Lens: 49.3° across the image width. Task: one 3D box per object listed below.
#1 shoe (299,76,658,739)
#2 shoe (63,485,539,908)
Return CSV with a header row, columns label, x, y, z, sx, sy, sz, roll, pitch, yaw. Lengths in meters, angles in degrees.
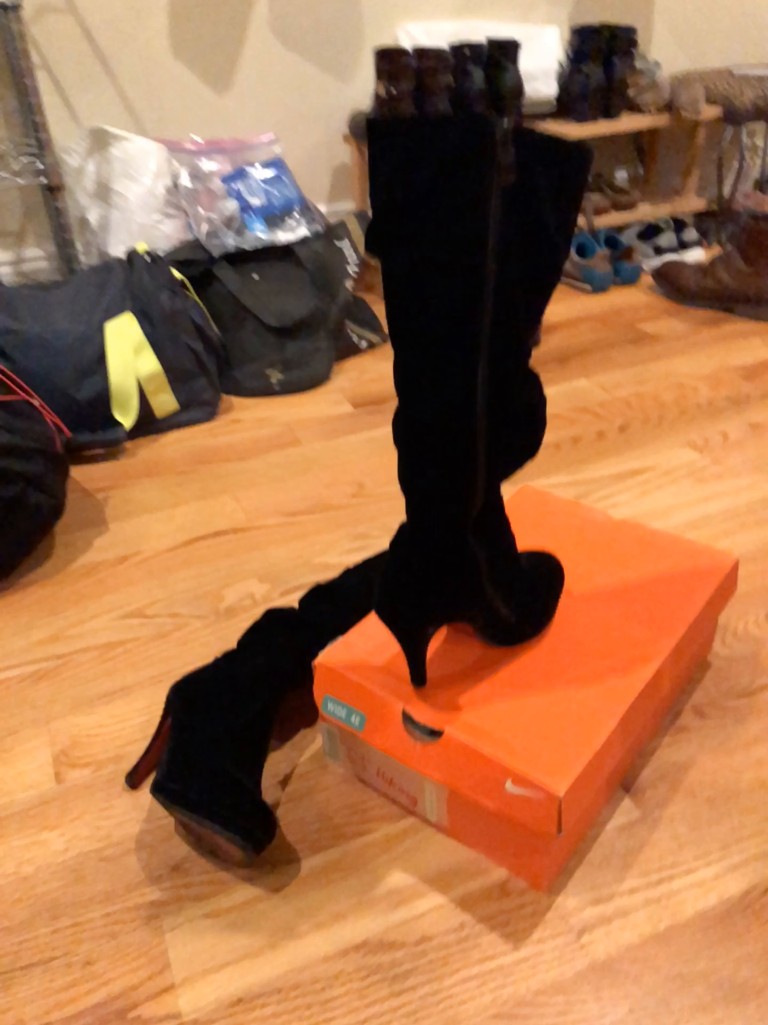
label,x,y,z,sx,sy,sz,roll,pitch,yaw
shoe,0.071,-0.067,0.582,0.089,0.397,0.217,25,42,36
shoe,-0.050,0.126,0.765,0.207,0.088,0.401,19,39,33
